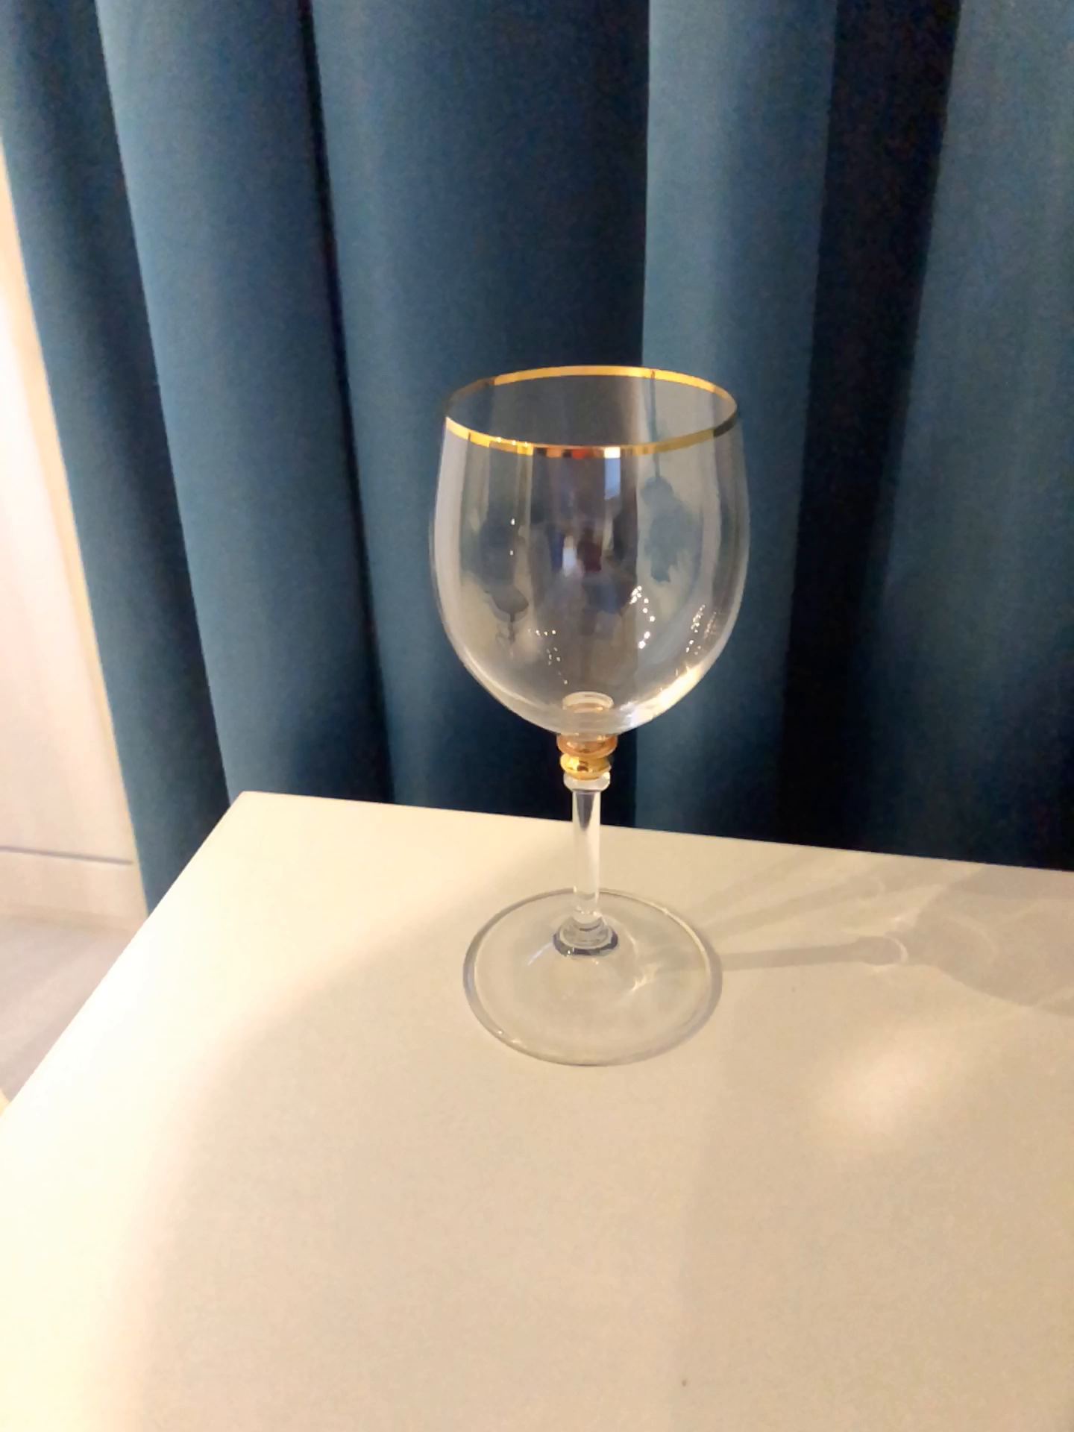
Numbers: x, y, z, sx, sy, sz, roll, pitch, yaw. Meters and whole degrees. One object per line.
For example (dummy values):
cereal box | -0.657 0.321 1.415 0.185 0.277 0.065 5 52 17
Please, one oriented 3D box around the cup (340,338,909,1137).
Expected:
cup | 0.023 -0.002 0.335 0.100 0.179 0.100 -1 27 0
